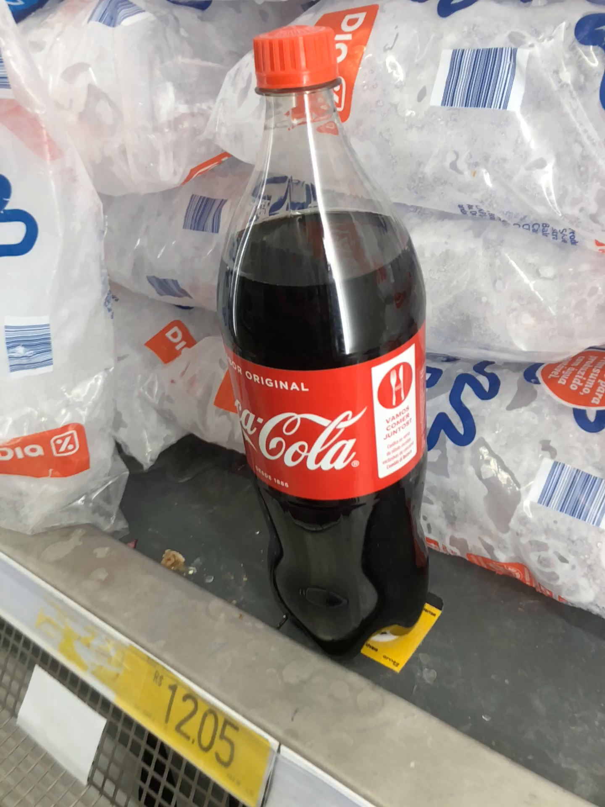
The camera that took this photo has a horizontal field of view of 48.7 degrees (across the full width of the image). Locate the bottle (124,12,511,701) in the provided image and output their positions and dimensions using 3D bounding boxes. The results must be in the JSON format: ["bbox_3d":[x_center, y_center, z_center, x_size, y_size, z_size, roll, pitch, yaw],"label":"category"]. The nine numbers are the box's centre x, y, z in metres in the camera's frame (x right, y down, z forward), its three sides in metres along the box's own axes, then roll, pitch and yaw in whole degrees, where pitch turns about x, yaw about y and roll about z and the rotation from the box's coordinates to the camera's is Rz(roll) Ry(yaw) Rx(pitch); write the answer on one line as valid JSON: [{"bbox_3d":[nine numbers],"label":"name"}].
[{"bbox_3d":[0.016,-0.005,0.302,0.100,0.288,0.080,26,47,38],"label":"bottle"}]
